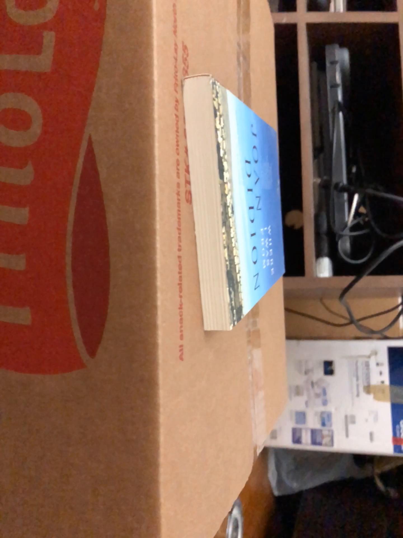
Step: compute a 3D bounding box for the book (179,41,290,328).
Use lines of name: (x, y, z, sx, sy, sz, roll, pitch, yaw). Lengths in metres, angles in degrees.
book: (0.037, -0.055, 0.325, 0.211, 0.020, 0.140, -27, 113, -70)
